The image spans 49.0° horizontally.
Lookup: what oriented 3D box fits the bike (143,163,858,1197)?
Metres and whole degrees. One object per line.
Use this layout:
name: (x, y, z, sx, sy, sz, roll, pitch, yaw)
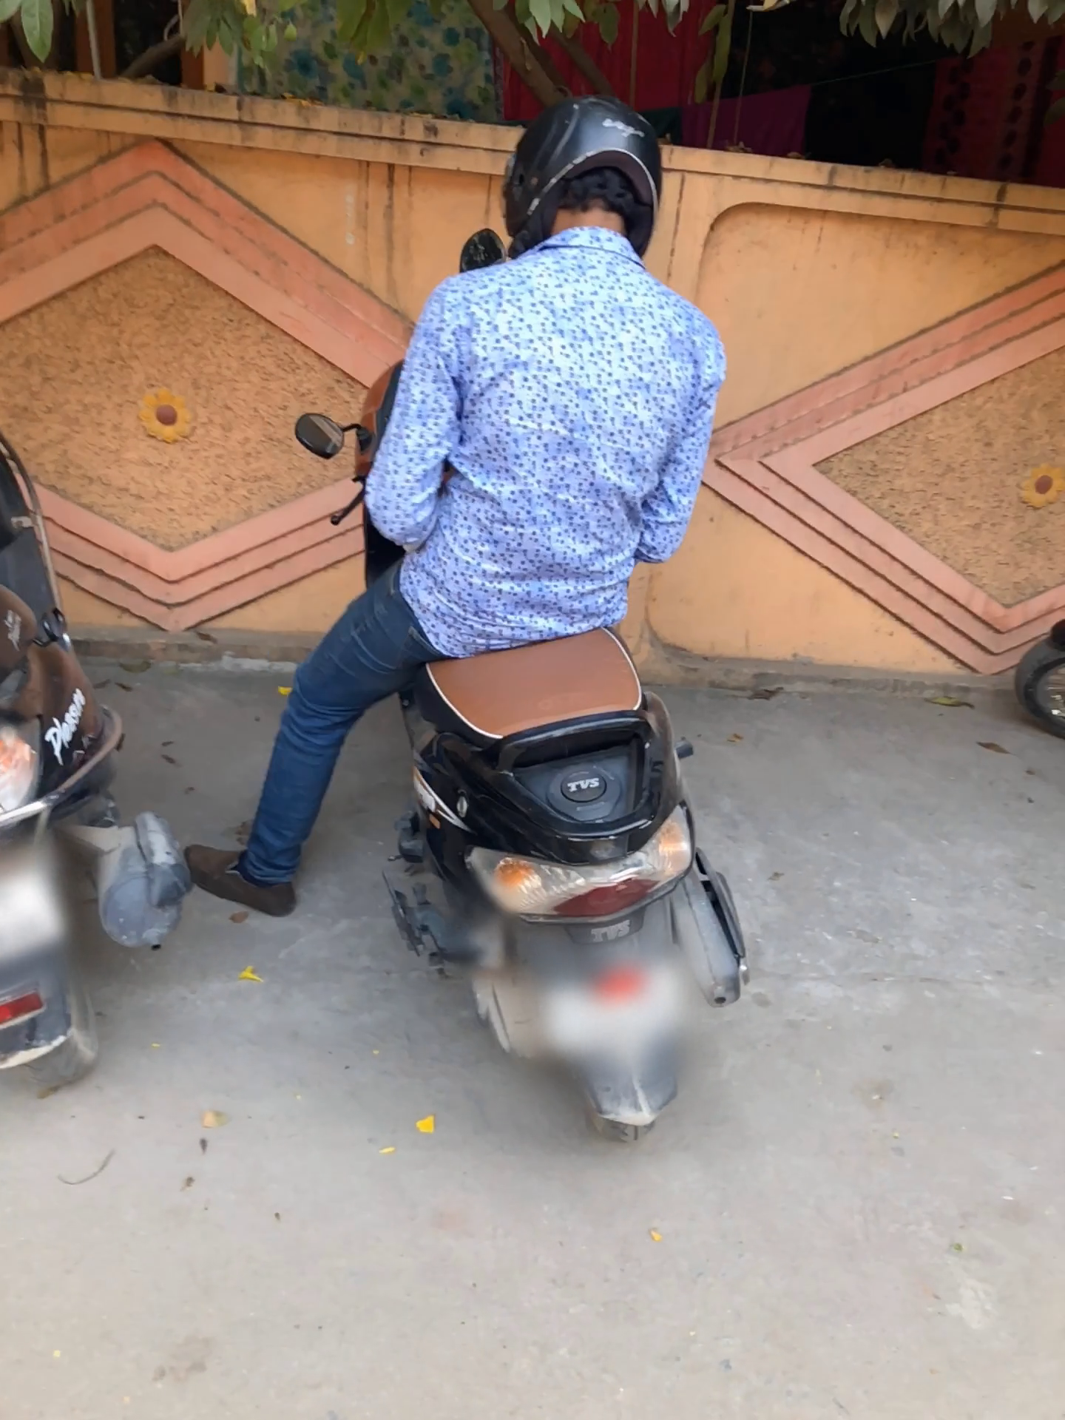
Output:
bike: (-0.220, -0.172, 2.005, 0.629, 1.038, 1.325, -5, 34, -23)
